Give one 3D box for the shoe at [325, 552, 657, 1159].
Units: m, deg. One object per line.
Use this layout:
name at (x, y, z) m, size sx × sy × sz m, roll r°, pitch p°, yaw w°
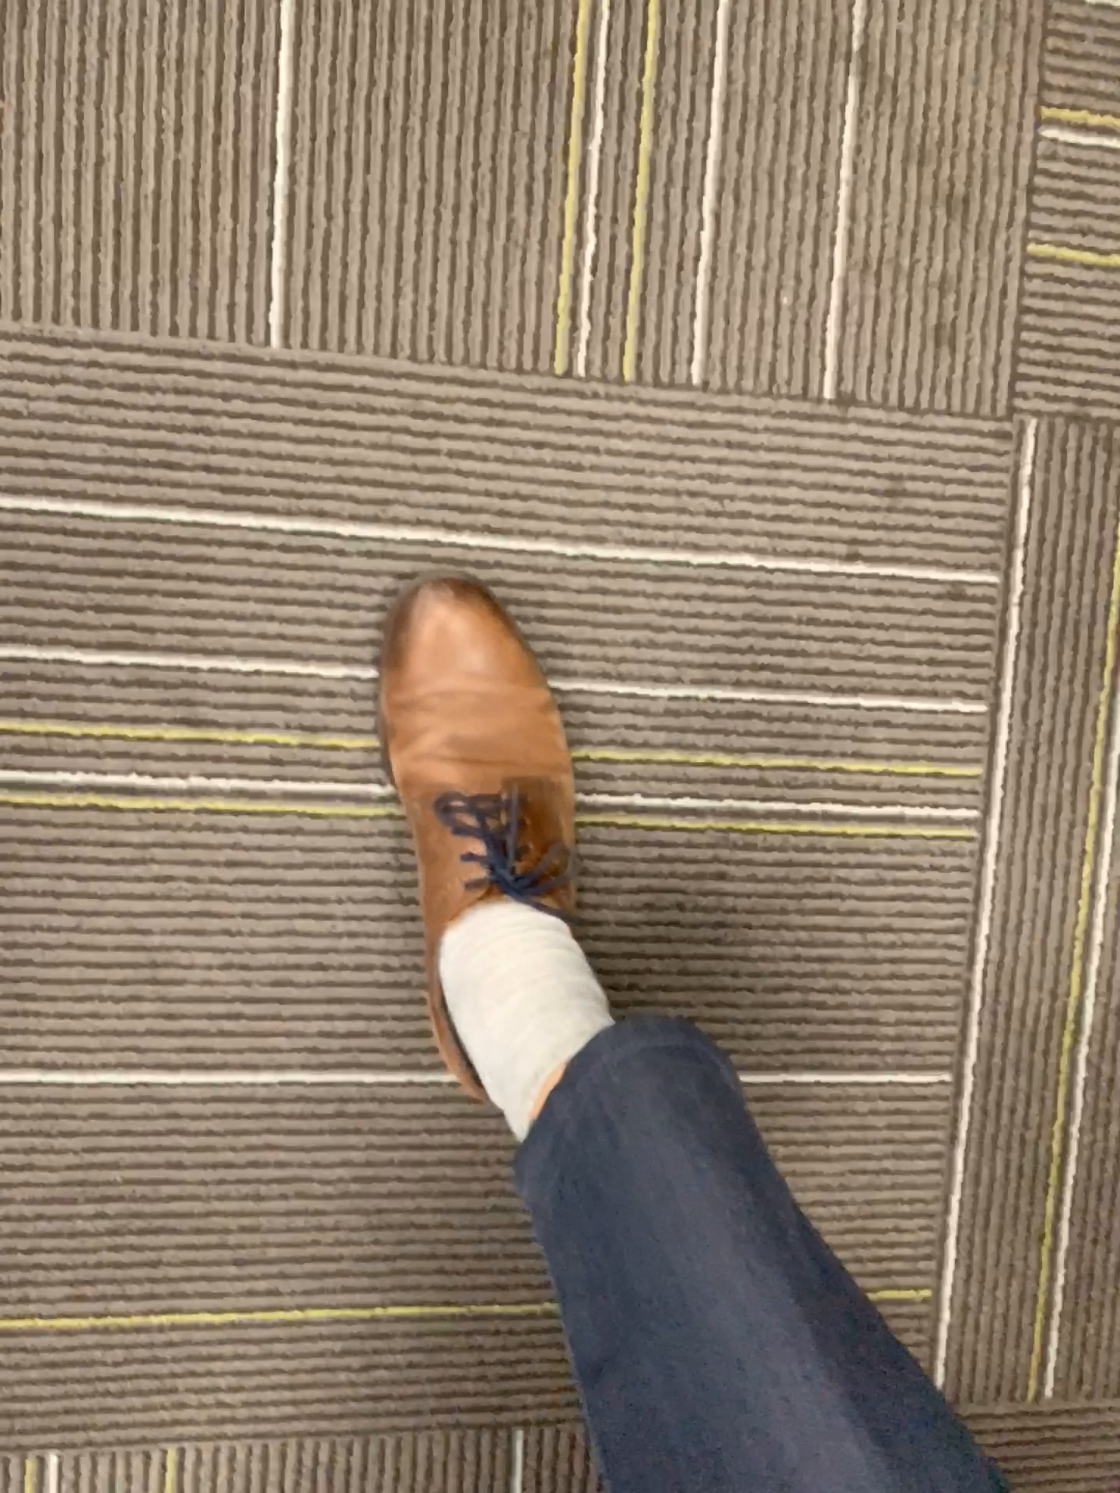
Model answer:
shoe at (-0.034, 0.051, 0.581) m, size 0.112 × 0.068 × 0.276 m, roll -11°, pitch 97°, yaw -8°
